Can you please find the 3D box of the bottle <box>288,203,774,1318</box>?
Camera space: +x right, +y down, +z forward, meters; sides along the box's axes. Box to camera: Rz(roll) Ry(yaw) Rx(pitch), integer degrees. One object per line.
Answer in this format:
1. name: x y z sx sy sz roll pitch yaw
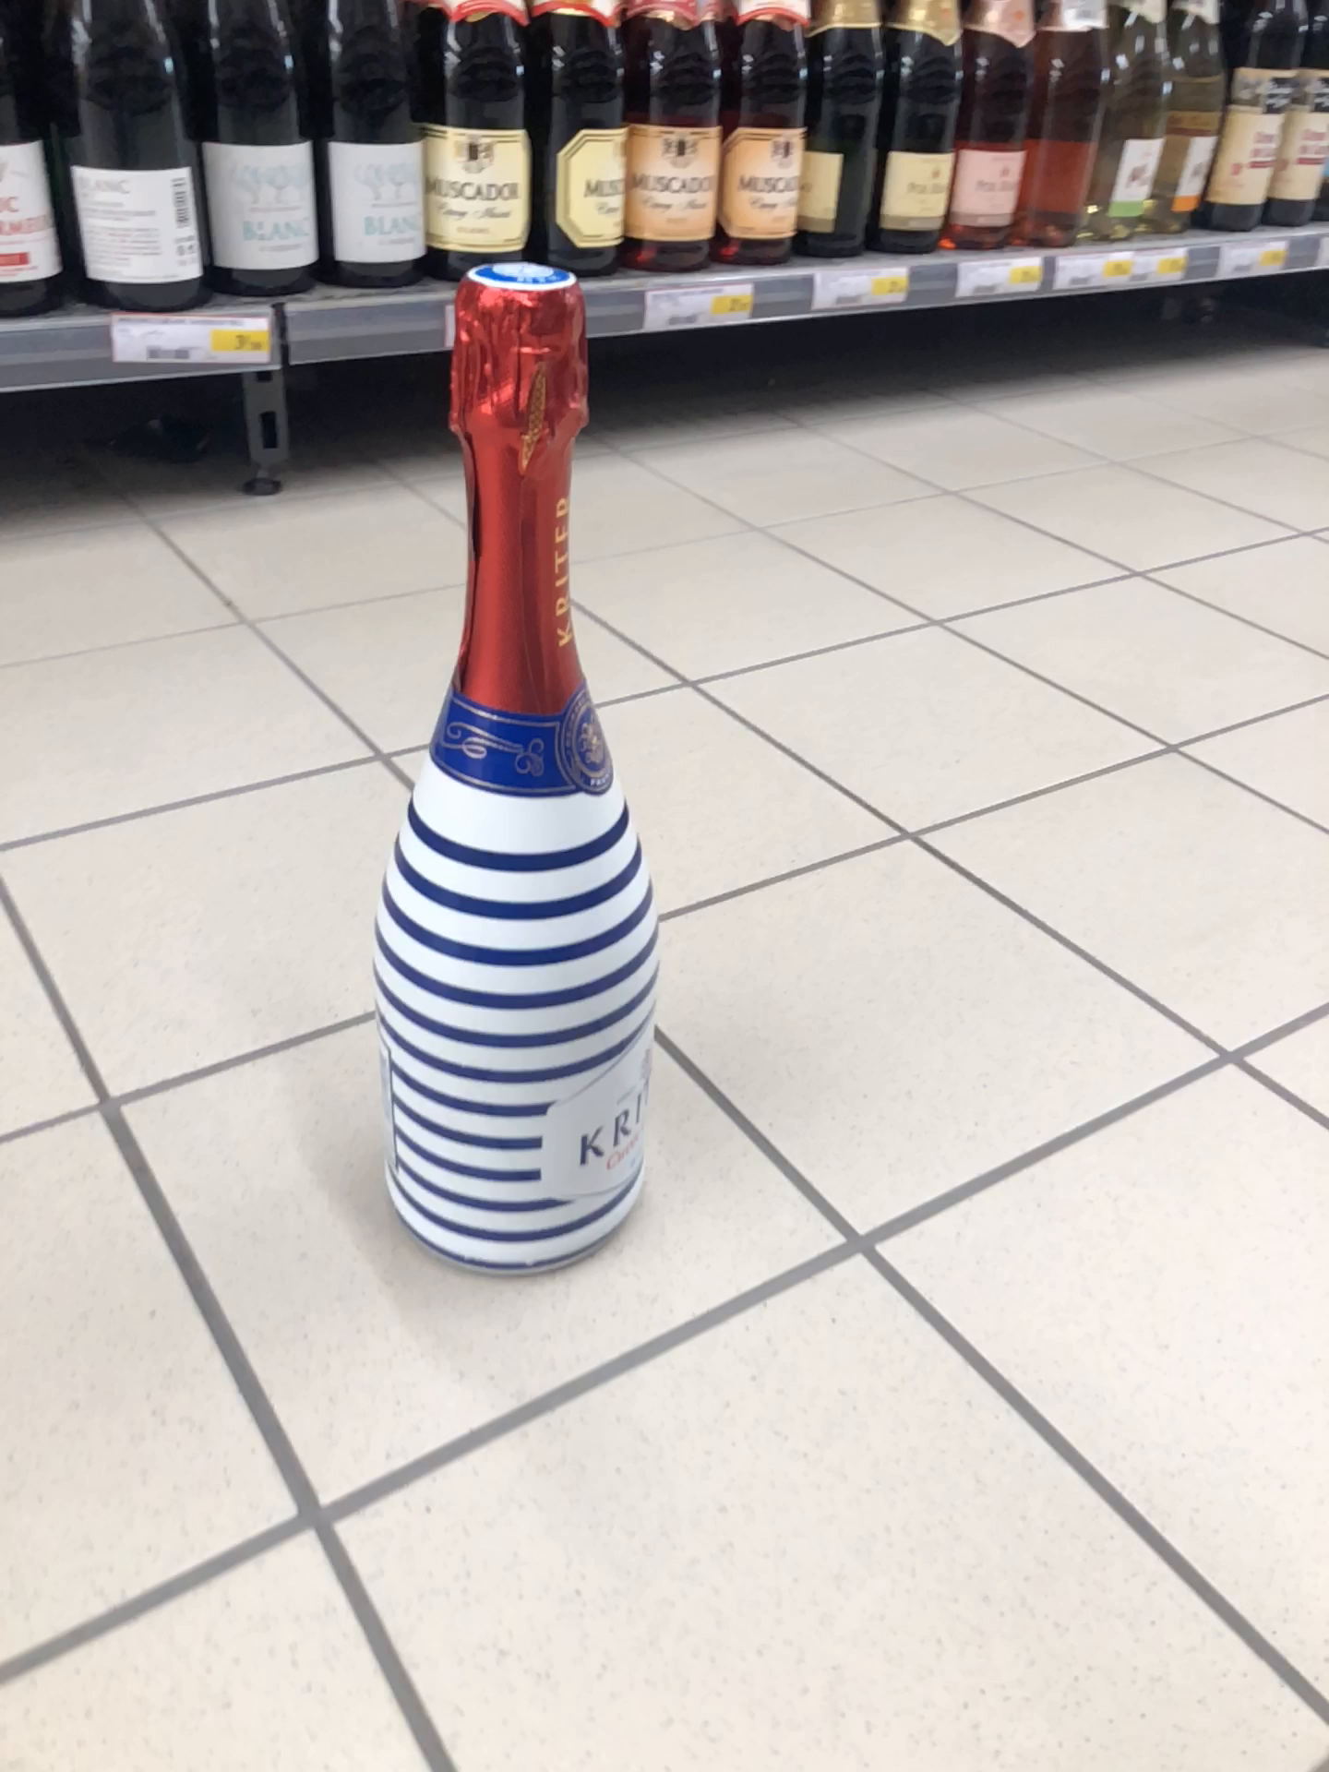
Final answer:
1. bottle: -0.037 -0.027 0.436 0.090 0.308 0.101 11 32 11
